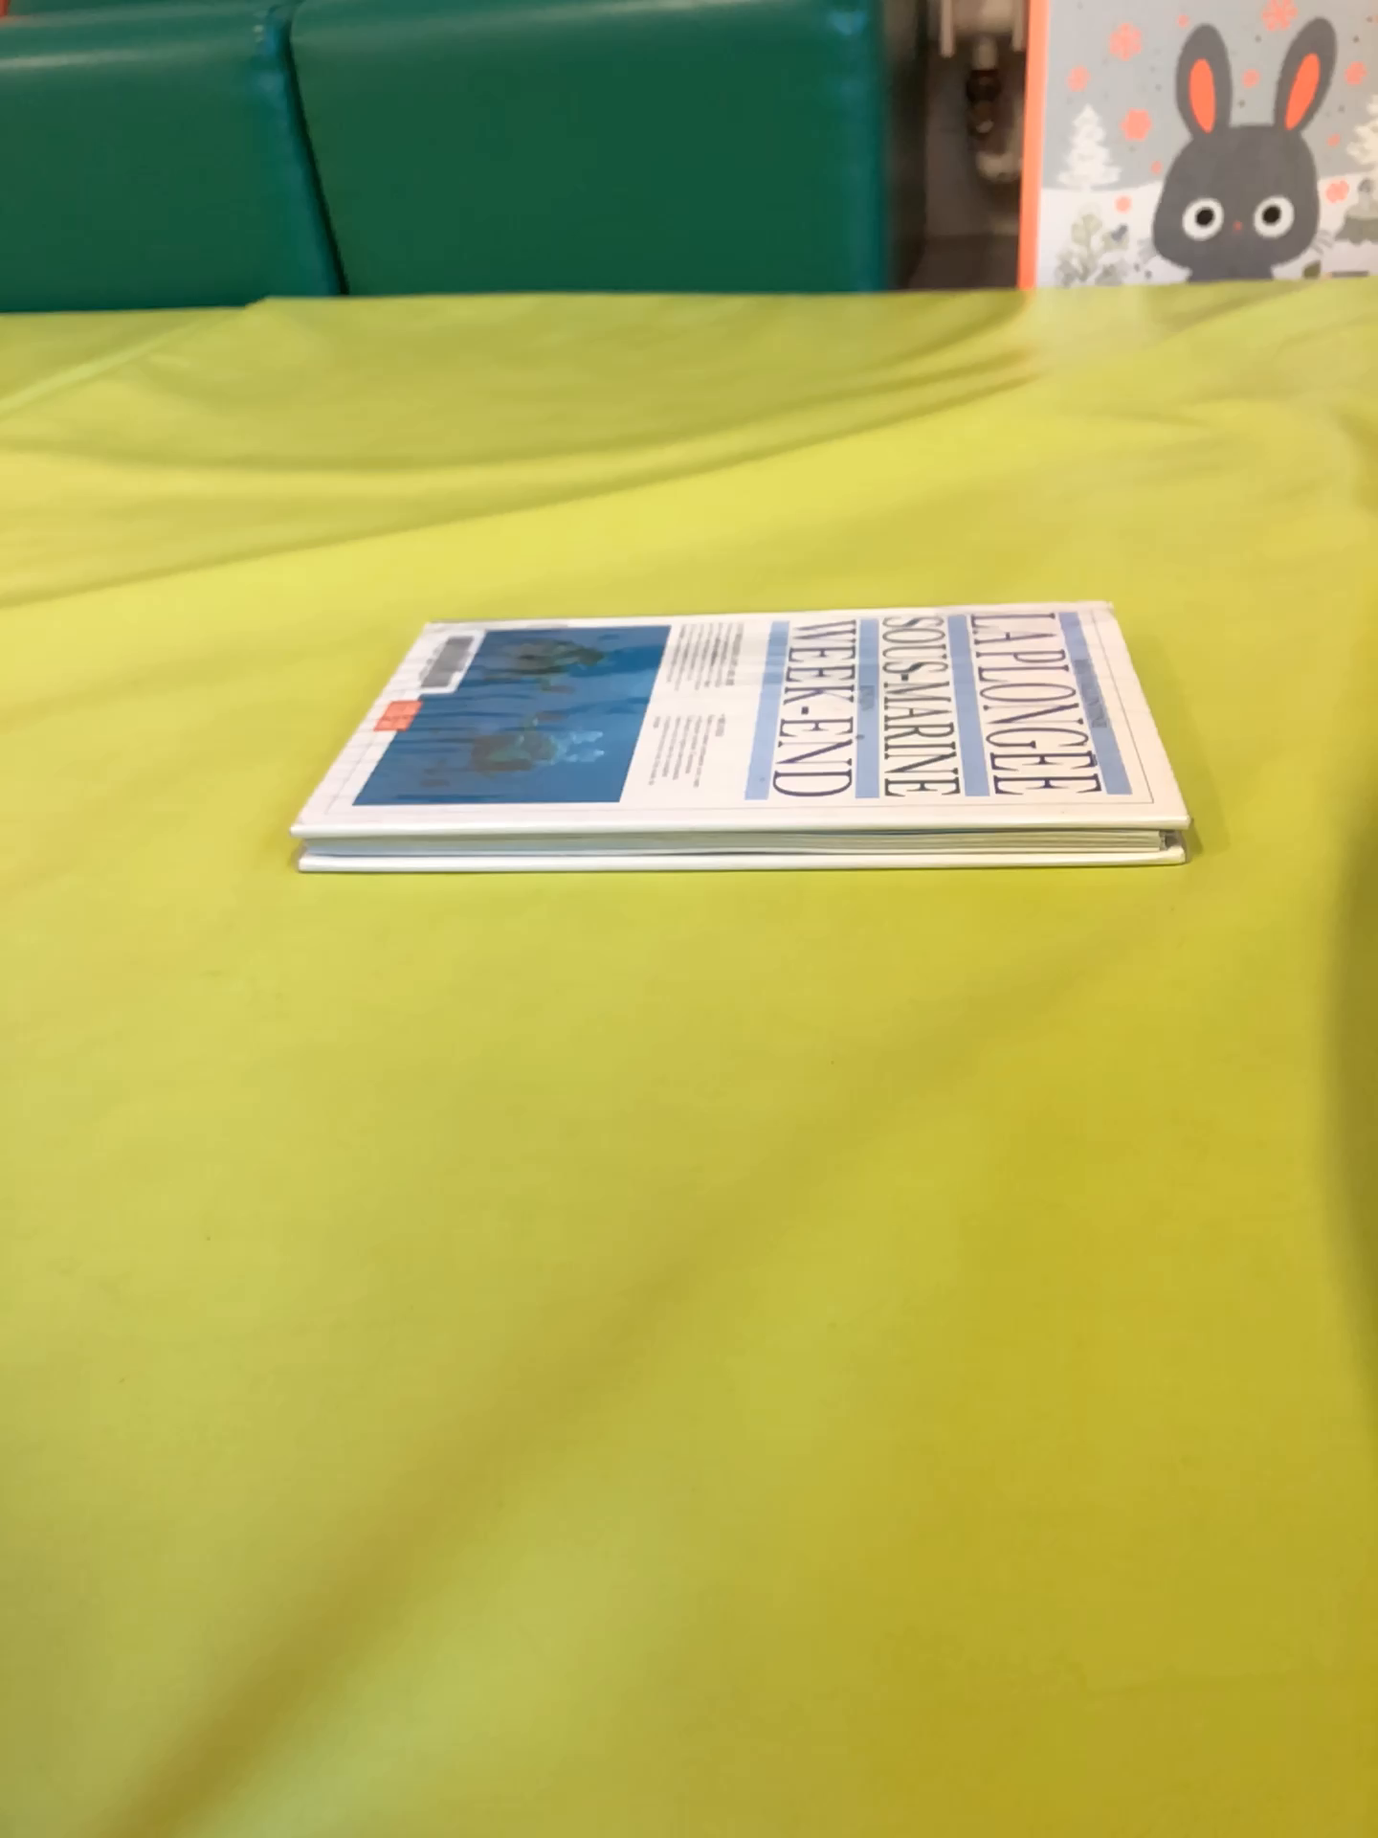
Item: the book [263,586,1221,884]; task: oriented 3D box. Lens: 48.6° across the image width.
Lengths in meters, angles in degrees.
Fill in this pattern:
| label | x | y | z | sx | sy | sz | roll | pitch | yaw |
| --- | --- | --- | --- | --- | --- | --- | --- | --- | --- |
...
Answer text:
| label | x | y | z | sx | sy | sz | roll | pitch | yaw |
| --- | --- | --- | --- | --- | --- | --- | --- | --- | --- |
| book | 0.017 | -0.058 | 0.441 | 0.234 | 0.020 | 0.151 | -1 | 31 | 7 |
